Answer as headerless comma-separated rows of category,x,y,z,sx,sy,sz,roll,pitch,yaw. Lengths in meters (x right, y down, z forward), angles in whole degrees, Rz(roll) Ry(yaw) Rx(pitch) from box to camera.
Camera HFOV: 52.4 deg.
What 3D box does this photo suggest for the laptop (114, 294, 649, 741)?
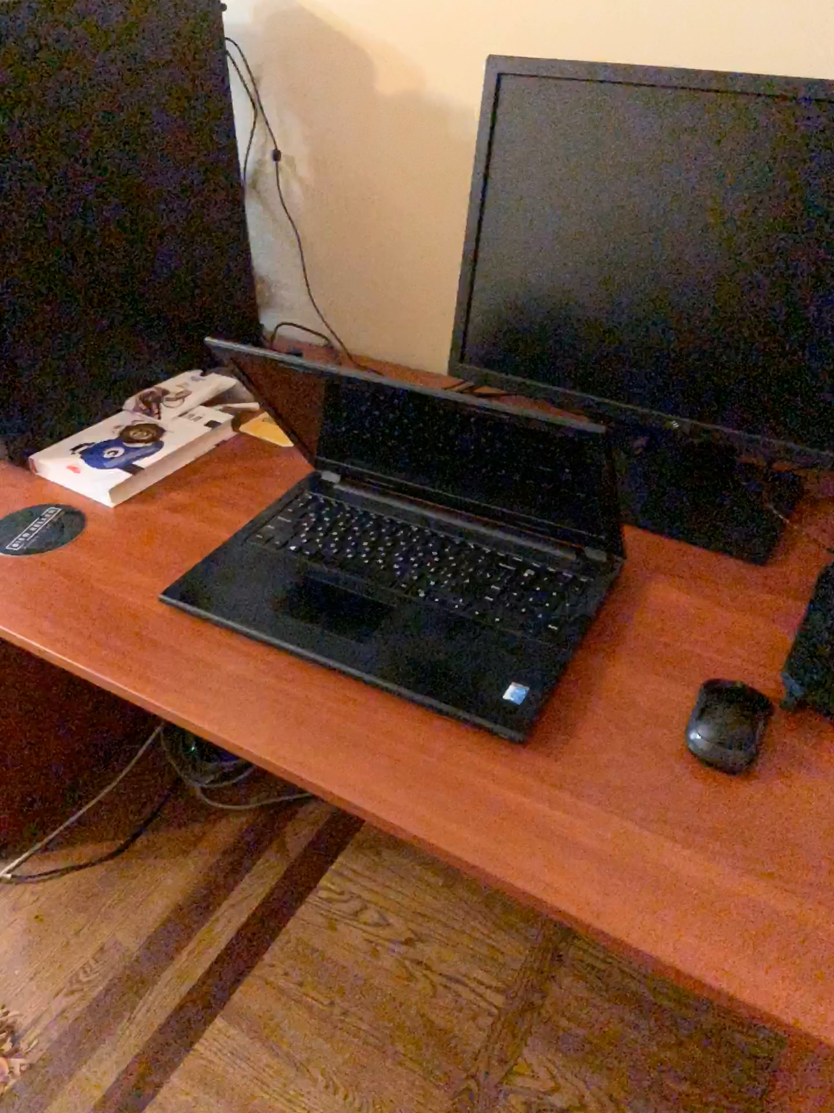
laptop,-0.024,-0.062,0.767,0.373,0.212,0.255,18,40,23
